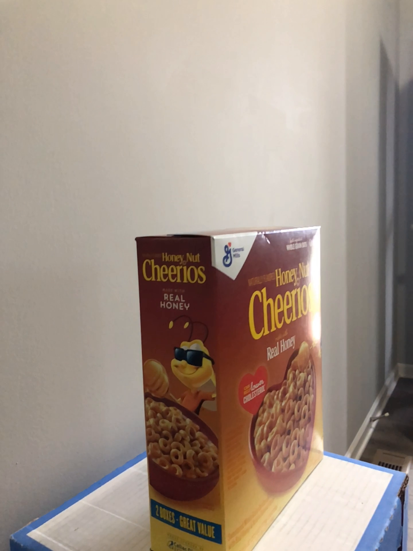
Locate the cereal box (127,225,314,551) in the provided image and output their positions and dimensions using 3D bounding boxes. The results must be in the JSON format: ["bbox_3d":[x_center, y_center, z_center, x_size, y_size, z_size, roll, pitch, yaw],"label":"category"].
[{"bbox_3d":[0.034,0.105,0.494,0.080,0.310,0.240,2,8,33],"label":"cereal box"}]
